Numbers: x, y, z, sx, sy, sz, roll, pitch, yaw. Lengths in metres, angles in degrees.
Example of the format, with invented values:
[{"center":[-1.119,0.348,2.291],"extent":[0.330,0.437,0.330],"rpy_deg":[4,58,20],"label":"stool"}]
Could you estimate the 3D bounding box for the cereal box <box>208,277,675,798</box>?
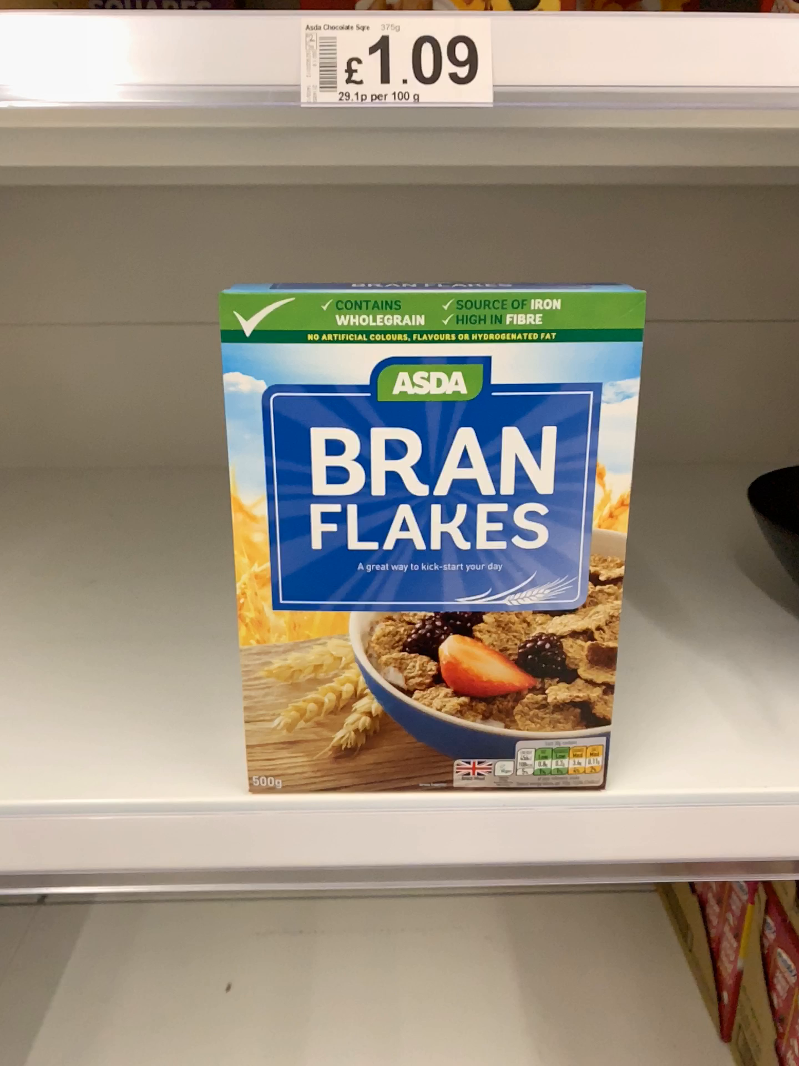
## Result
[{"center":[0.020,0.002,0.465],"extent":[0.220,0.278,0.080],"rpy_deg":[0,16,-1],"label":"cereal box"}]
